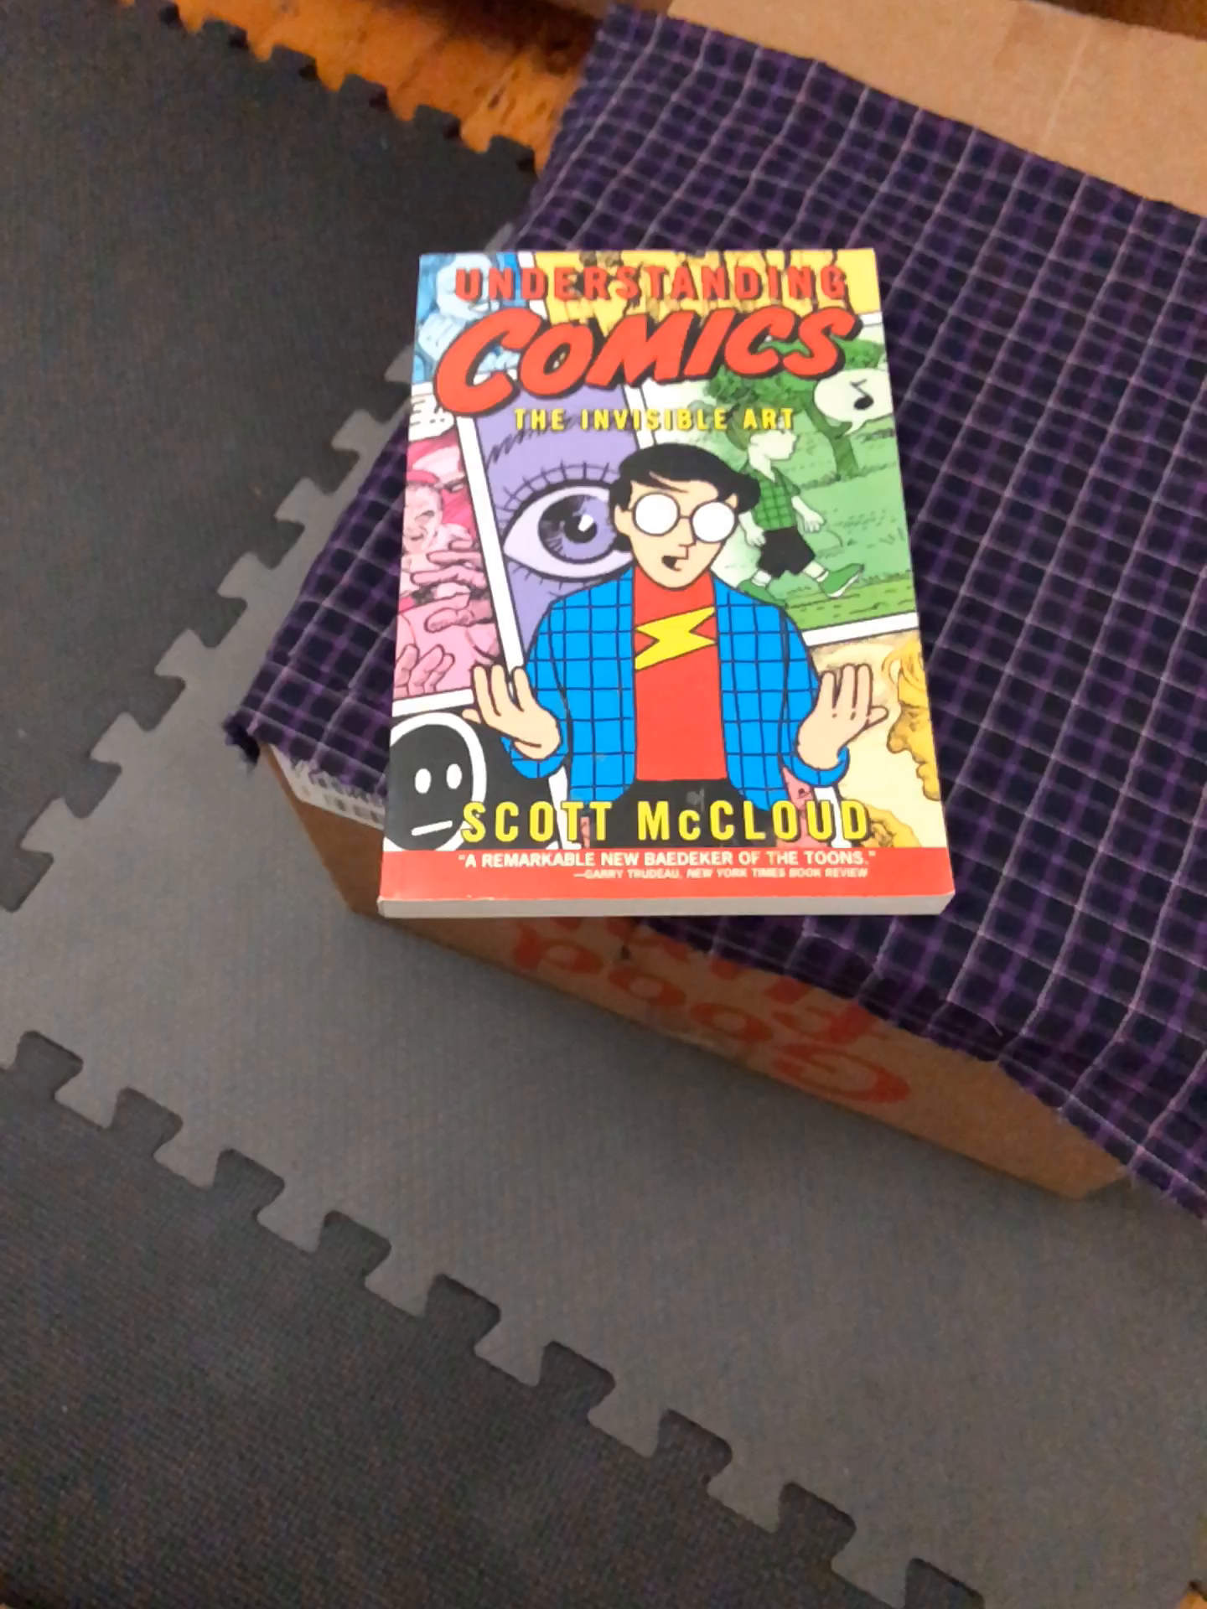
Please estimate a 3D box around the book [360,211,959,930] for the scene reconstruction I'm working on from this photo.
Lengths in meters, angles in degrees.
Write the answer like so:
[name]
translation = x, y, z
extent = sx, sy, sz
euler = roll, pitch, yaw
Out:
[book]
translation = 0.015, -0.091, 0.444
extent = 0.170, 0.020, 0.271
euler = 0, 65, 0
